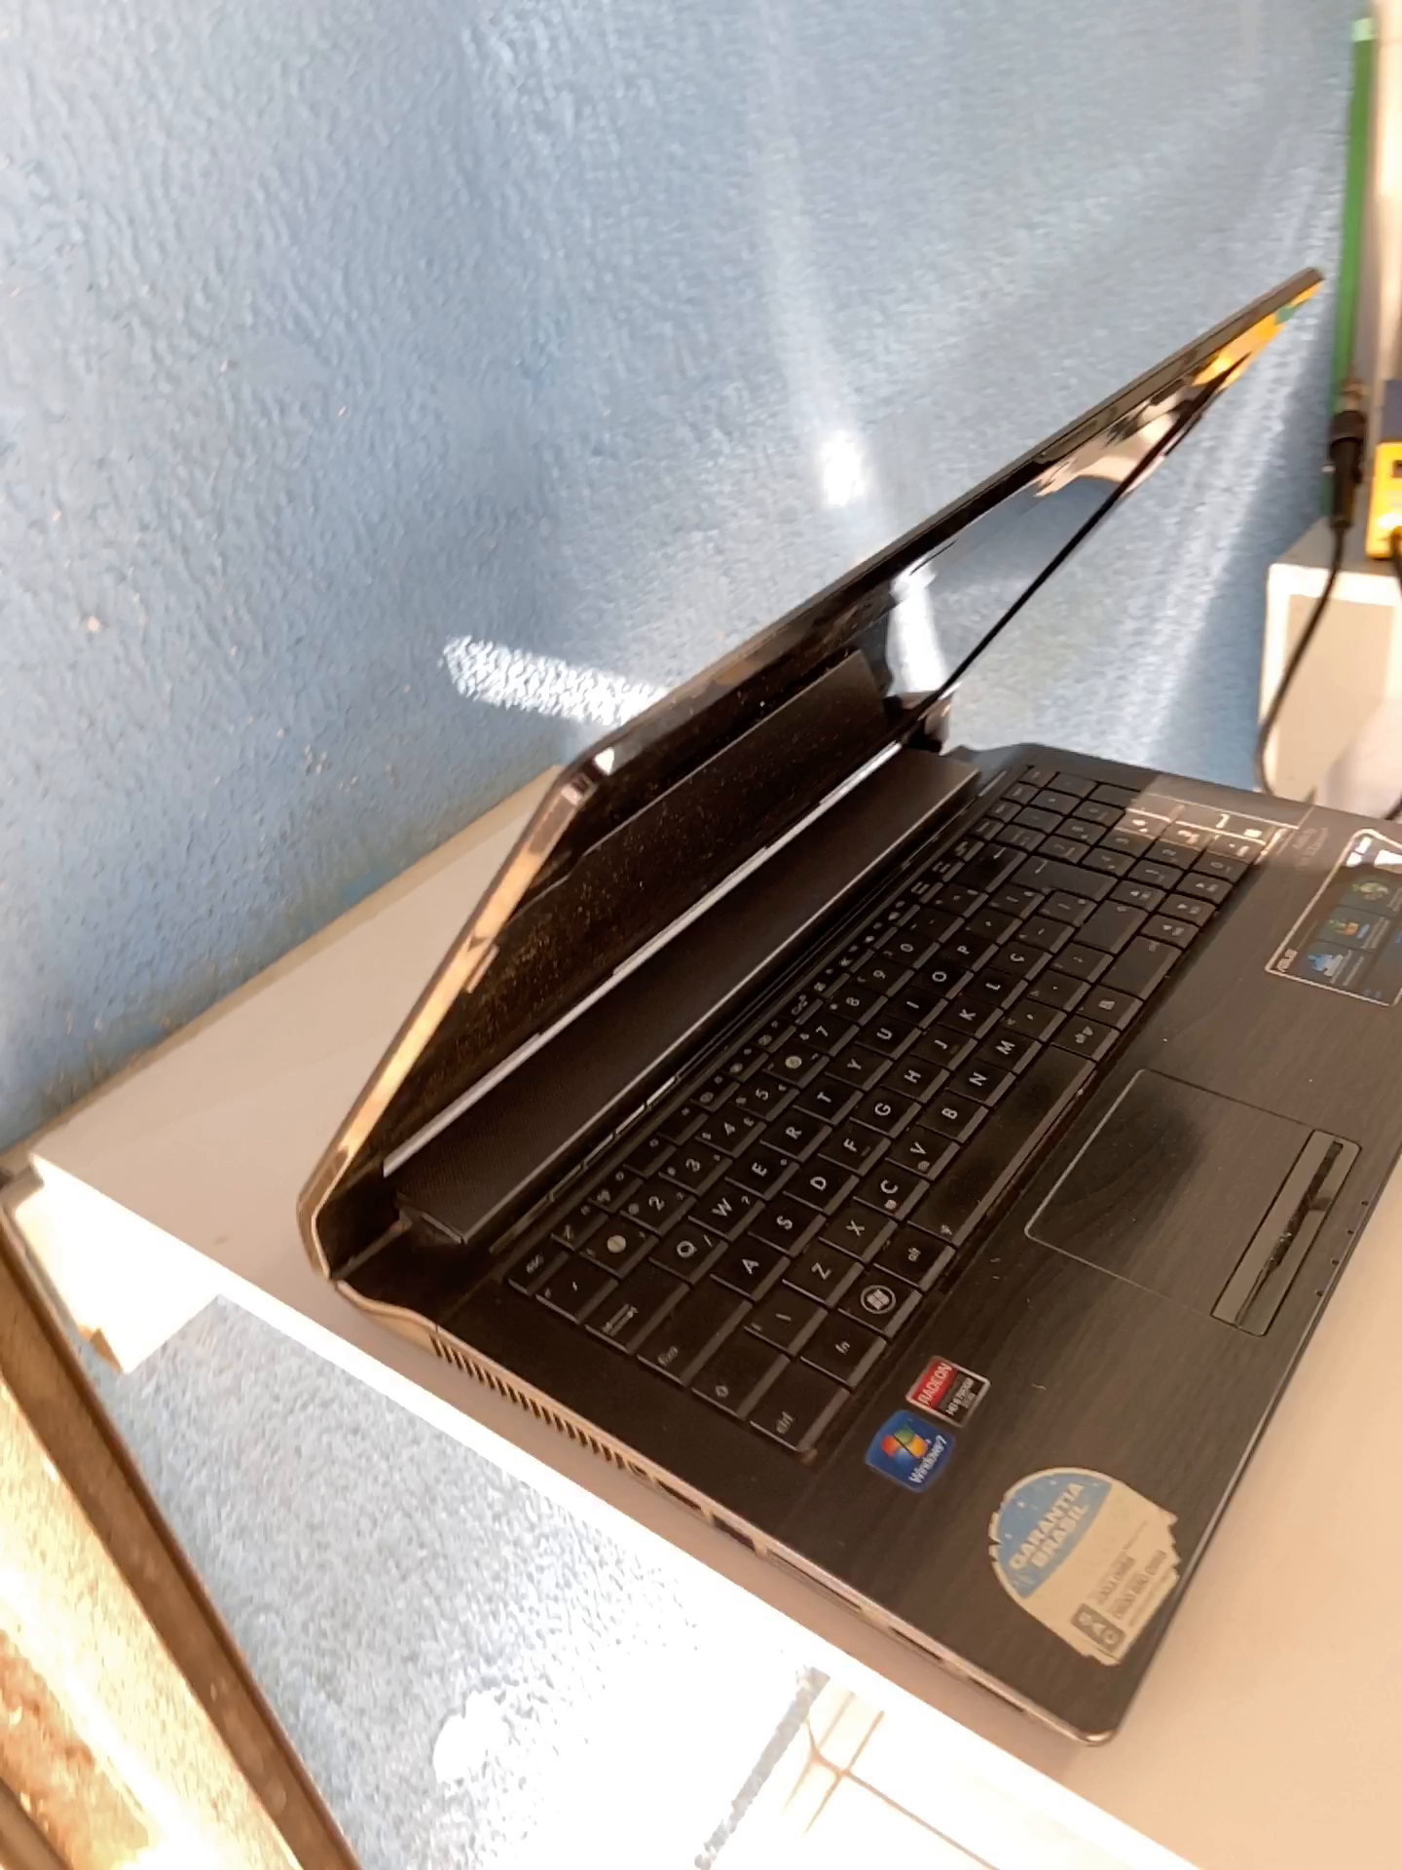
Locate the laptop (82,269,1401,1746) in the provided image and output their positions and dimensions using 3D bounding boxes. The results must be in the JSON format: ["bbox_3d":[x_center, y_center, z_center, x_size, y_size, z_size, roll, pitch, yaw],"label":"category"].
[{"bbox_3d":[0.085,-0.047,0.440,0.255,0.208,0.389,16,40,35],"label":"laptop"}]
